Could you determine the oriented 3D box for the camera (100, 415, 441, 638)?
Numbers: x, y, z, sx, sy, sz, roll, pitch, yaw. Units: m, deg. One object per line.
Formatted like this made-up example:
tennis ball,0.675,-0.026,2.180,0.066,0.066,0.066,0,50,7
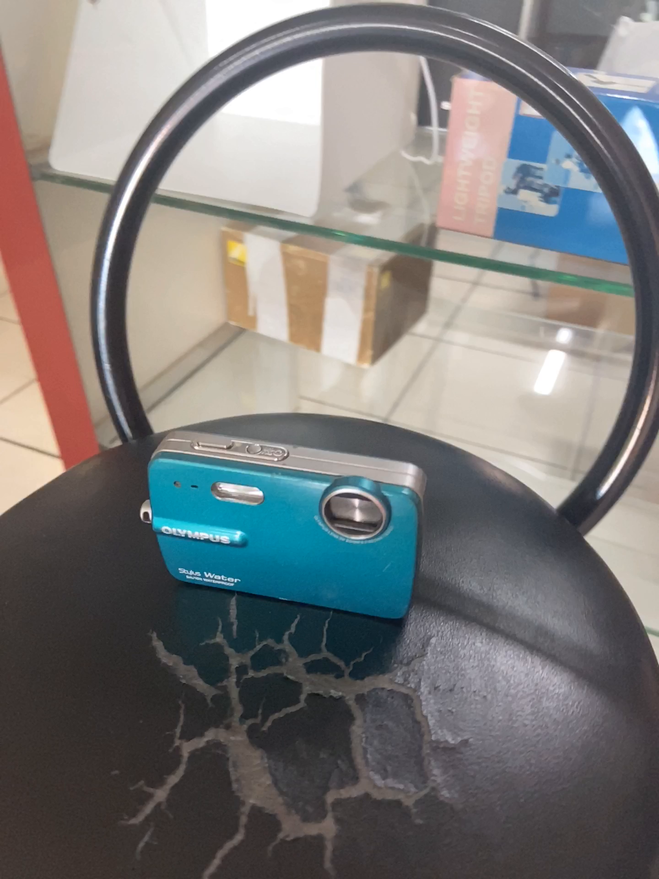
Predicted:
camera,-0.018,0.028,0.225,0.100,0.050,0.030,8,37,10
